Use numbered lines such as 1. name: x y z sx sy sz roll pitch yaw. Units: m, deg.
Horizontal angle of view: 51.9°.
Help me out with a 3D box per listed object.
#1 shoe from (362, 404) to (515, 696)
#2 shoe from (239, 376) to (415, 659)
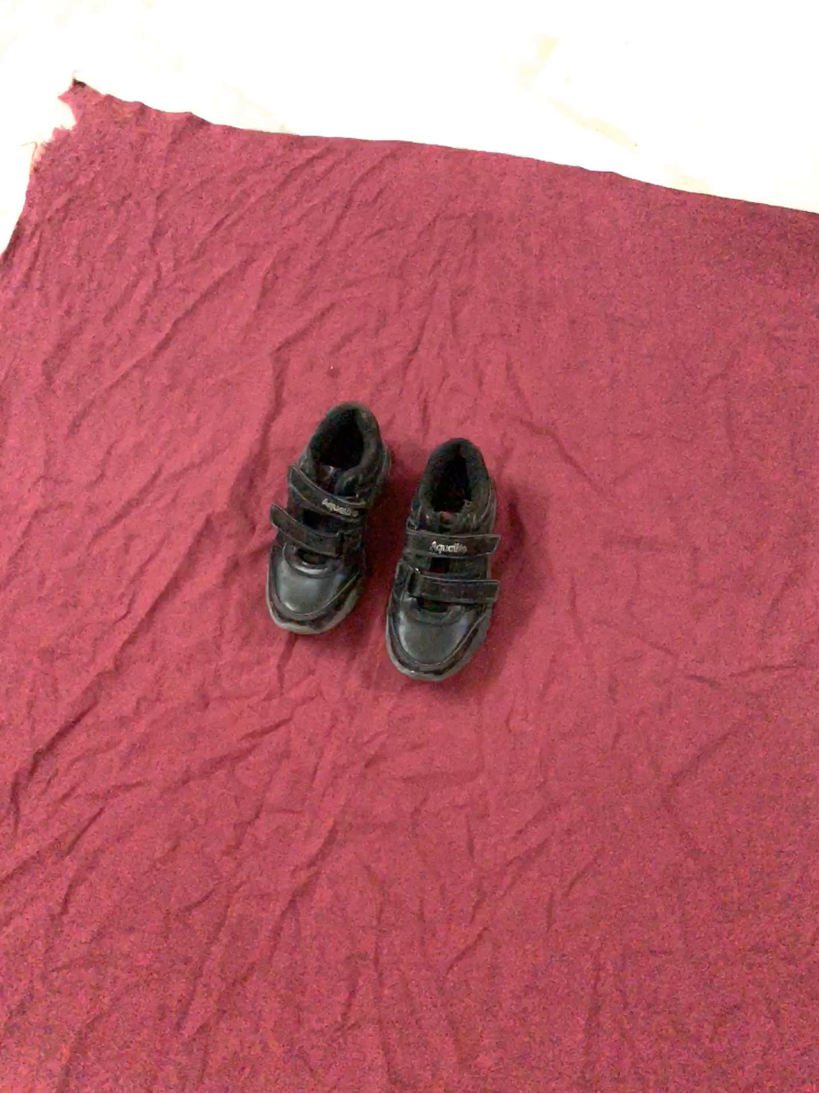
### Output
1. shoe: 0.027 0.002 0.664 0.070 0.070 0.211 12 70 8
2. shoe: -0.061 -0.025 0.688 0.070 0.070 0.211 15 71 9
